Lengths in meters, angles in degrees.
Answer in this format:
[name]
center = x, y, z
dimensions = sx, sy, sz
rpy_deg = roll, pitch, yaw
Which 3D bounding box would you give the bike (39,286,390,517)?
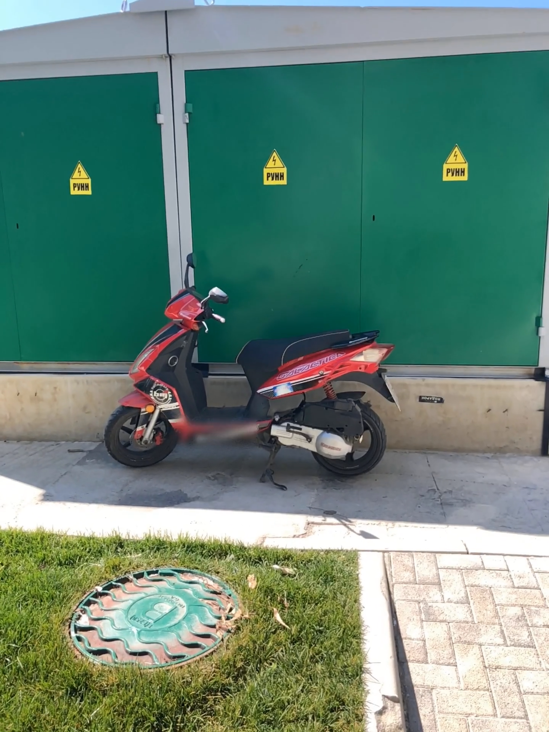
[bike]
center = -0.247, 0.158, 3.240
dimensions = 1.590, 1.088, 0.590
rpy_deg = 0, 11, 9
